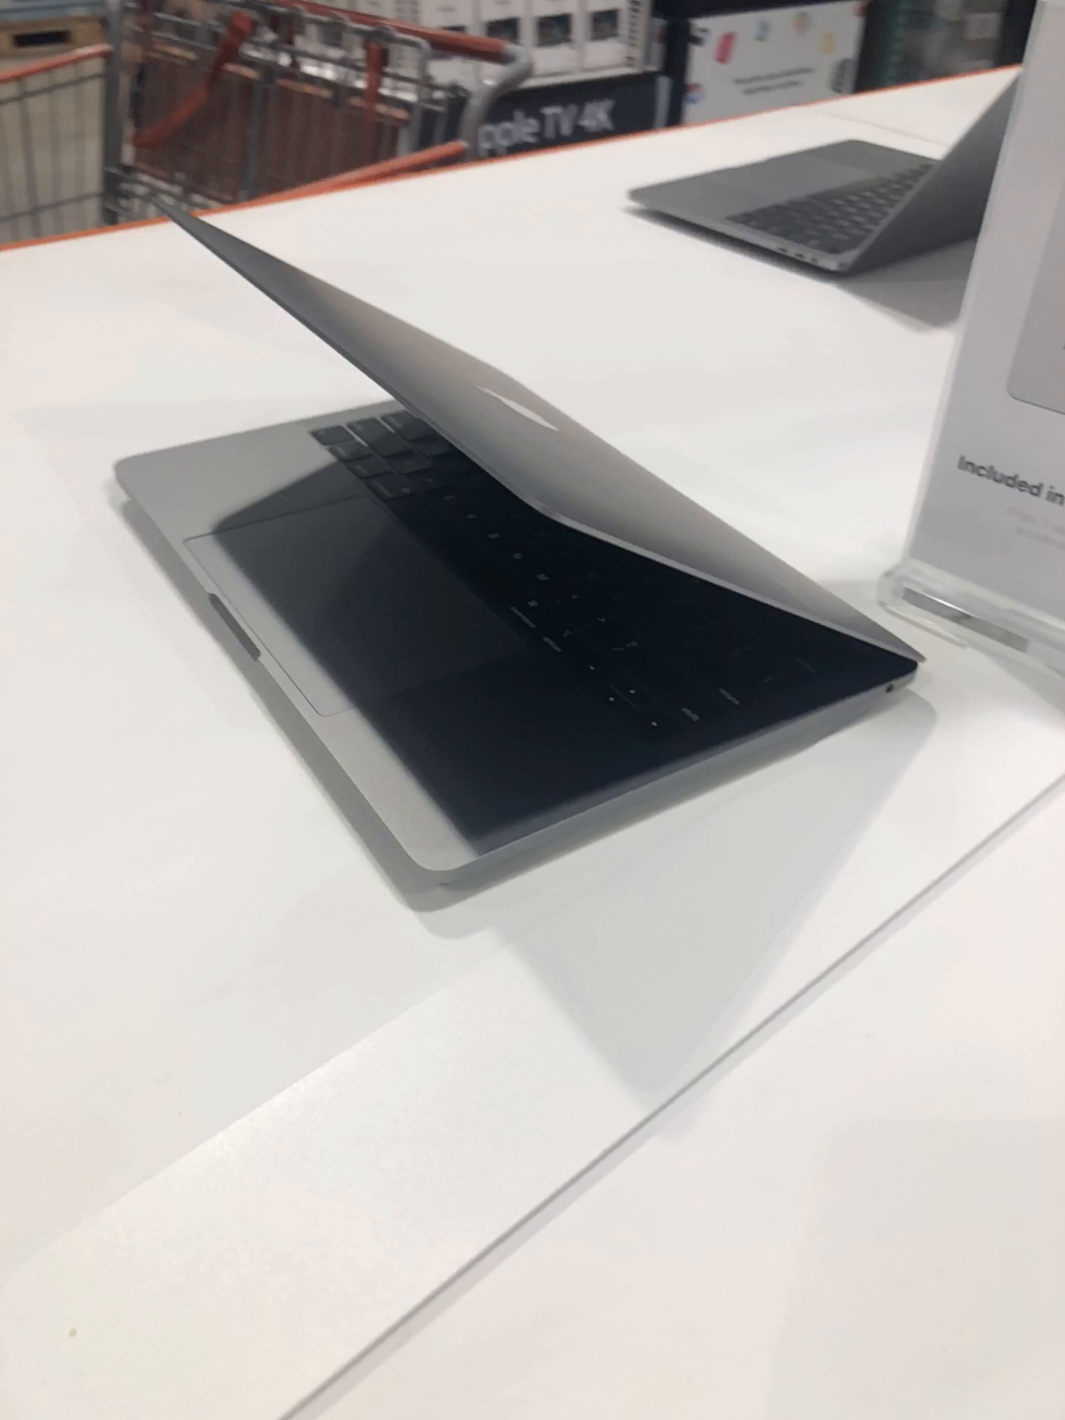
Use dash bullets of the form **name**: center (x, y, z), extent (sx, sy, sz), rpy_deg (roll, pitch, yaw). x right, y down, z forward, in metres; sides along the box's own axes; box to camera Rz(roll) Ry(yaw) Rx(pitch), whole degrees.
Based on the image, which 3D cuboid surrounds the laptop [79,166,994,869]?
- **laptop**: center (-0.020, -0.107, 0.461), extent (0.204, 0.109, 0.296), rpy_deg (-20, 44, -26)
